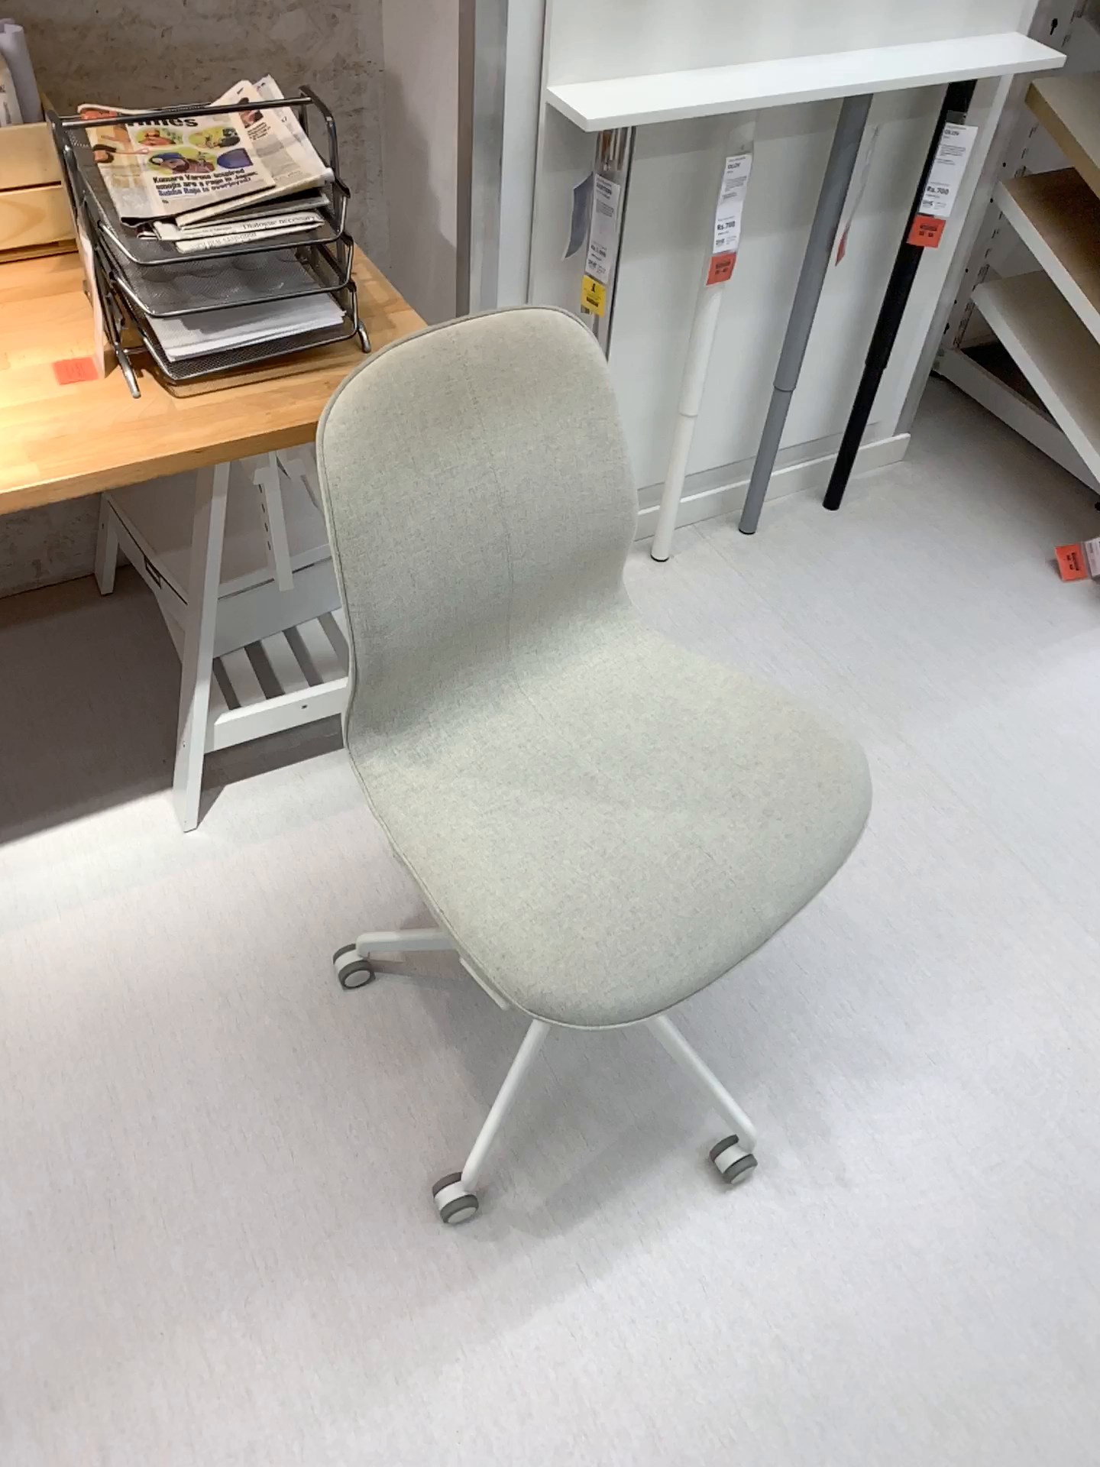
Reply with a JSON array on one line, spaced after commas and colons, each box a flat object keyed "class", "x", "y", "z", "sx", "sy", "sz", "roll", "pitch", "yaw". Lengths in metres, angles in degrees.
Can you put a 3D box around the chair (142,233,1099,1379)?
[{"class": "chair", "x": 0.086, "y": 0.081, "z": 1.223, "sx": 0.661, "sy": 0.867, "sz": 0.662, "roll": -25, "pitch": 54, "yaw": -25}]
